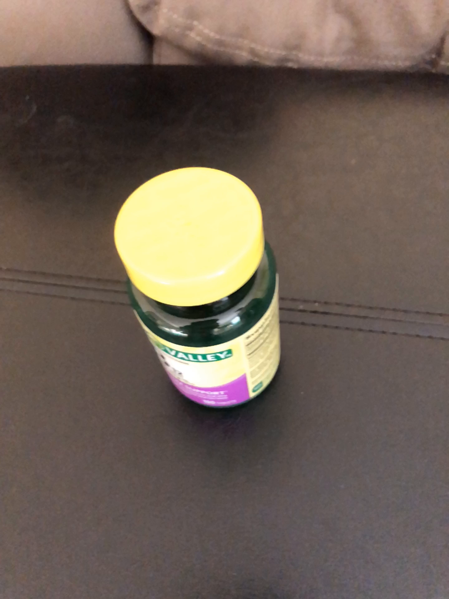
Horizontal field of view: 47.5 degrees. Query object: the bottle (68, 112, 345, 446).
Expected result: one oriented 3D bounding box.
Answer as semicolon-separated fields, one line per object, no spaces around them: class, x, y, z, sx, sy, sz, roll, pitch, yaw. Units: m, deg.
bottle;-0.001;0.000;0.167;0.050;0.090;0.050;-3;58;5
